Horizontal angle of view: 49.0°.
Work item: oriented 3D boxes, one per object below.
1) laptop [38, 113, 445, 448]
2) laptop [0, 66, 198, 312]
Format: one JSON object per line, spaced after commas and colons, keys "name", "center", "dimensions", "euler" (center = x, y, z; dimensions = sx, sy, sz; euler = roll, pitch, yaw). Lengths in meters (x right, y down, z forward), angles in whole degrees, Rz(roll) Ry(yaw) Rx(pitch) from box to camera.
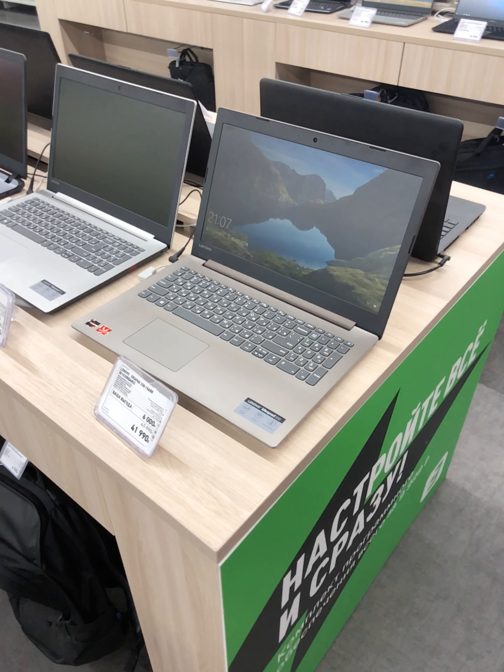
{"name": "laptop", "center": [-0.009, -0.108, 0.722], "dimensions": [0.351, 0.209, 0.329], "euler": [26, 47, 30]}
{"name": "laptop", "center": [-0.326, -0.271, 0.919], "dimensions": [0.343, 0.207, 0.324], "euler": [27, 47, 28]}
